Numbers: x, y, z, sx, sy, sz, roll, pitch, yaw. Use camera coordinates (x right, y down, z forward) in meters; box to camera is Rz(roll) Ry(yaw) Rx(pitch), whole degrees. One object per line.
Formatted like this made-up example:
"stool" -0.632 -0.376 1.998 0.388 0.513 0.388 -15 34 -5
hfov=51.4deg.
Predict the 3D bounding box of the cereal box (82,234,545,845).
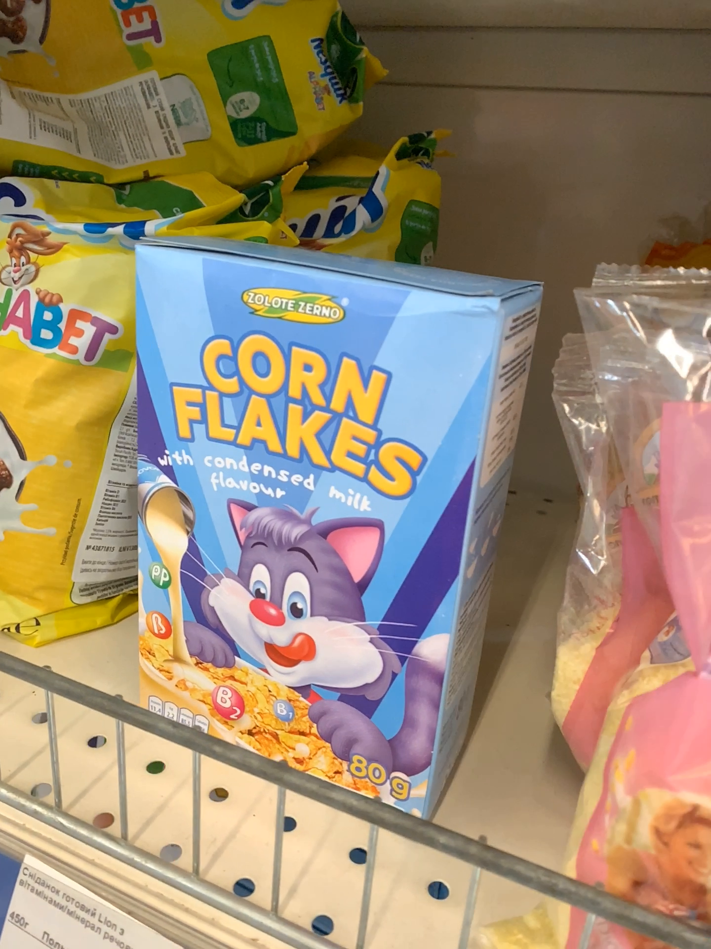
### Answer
"cereal box" -0.018 0.013 0.233 0.120 0.159 0.050 13 21 21
